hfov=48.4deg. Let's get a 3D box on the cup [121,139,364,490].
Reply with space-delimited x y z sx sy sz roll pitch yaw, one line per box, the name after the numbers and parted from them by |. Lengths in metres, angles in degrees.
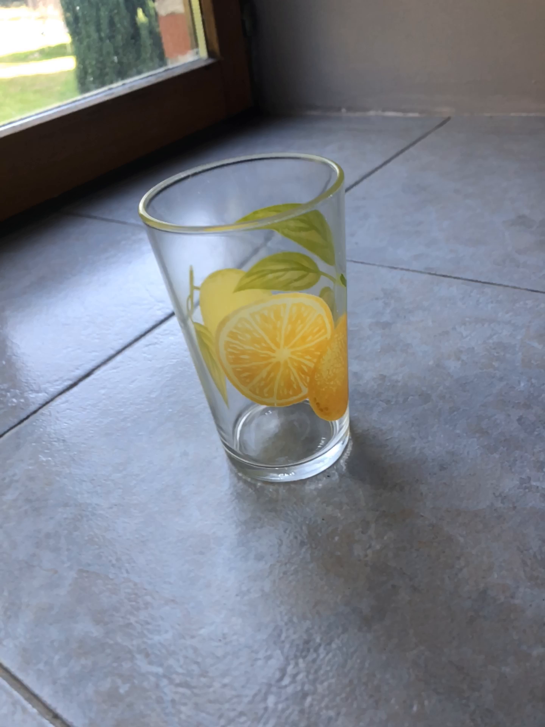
-0.005 -0.018 0.241 0.069 0.112 0.070 -5 35 4 | cup
